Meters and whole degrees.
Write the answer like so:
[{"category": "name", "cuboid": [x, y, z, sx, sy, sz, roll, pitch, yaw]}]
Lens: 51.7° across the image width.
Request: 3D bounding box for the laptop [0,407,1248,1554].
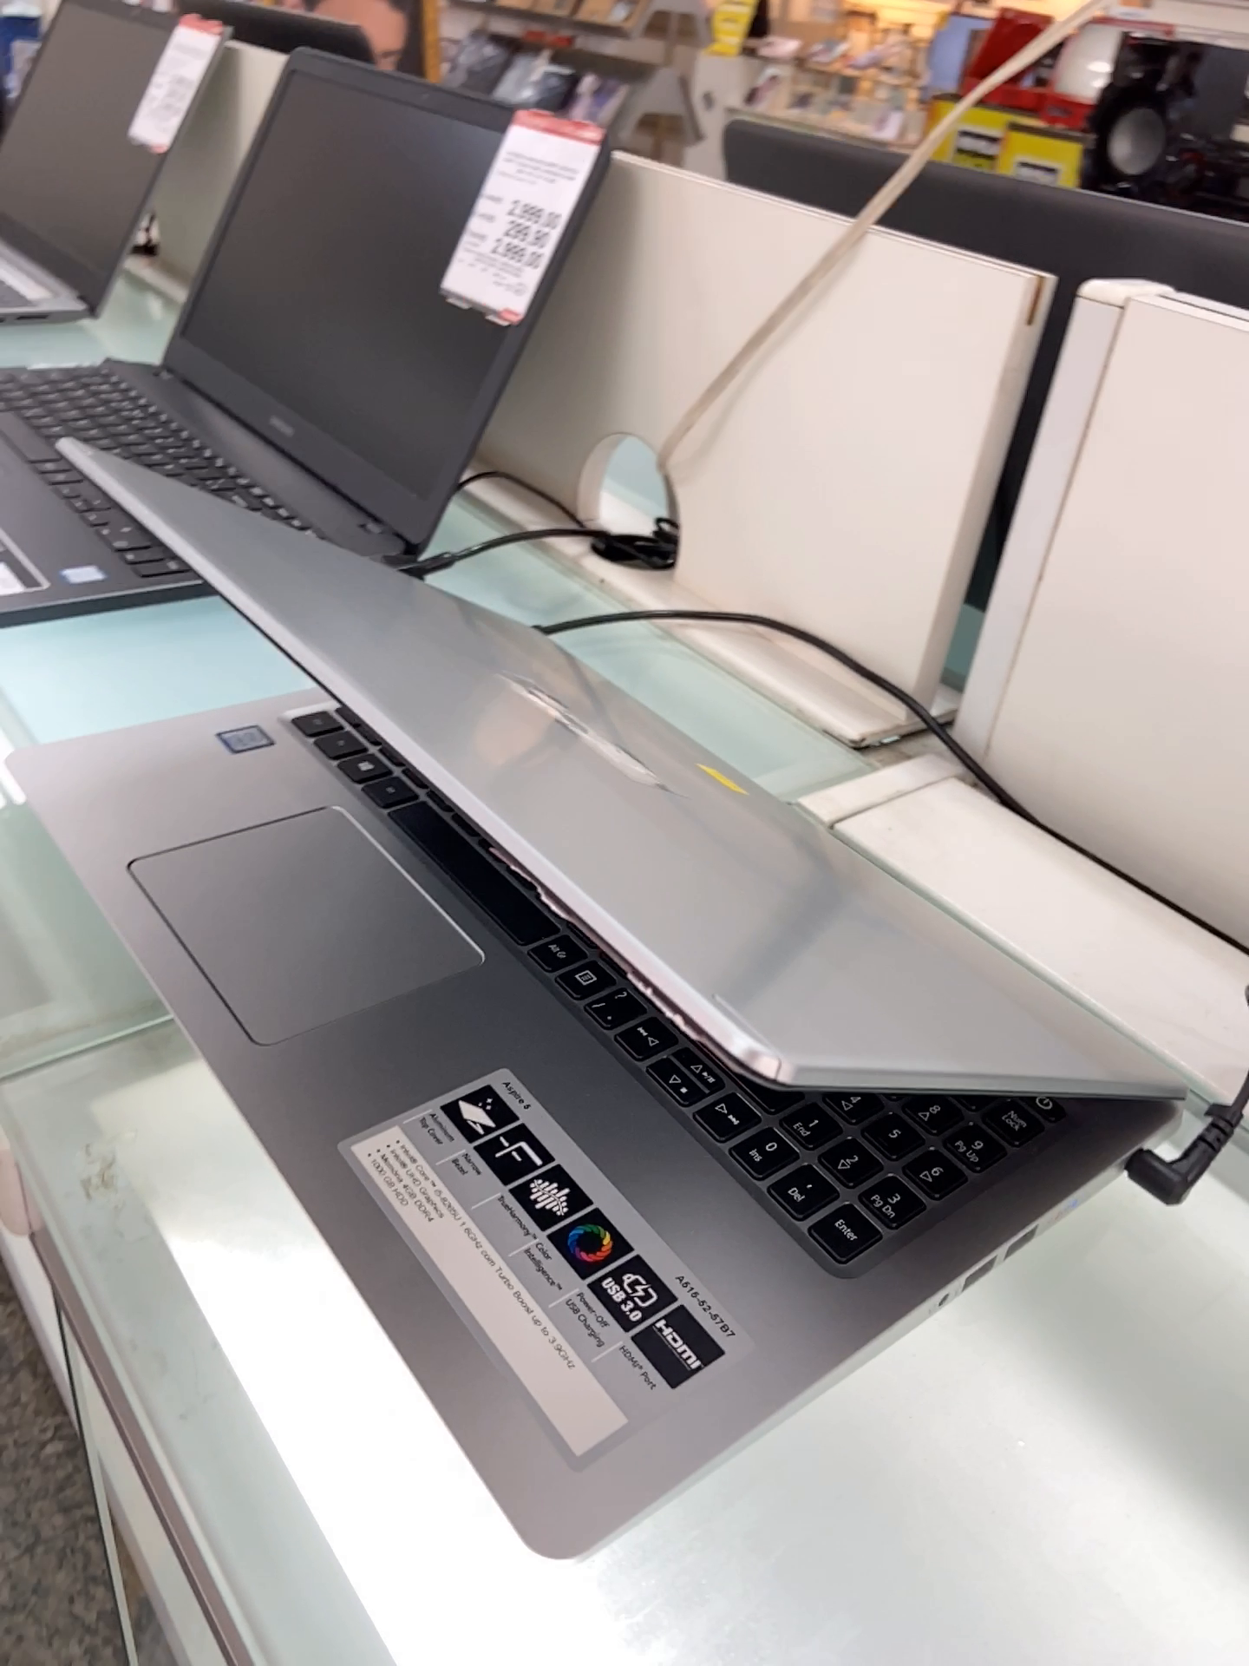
[{"category": "laptop", "cuboid": [-0.027, -0.019, 0.418, 0.246, 0.116, 0.365, -19, 41, -35]}]
